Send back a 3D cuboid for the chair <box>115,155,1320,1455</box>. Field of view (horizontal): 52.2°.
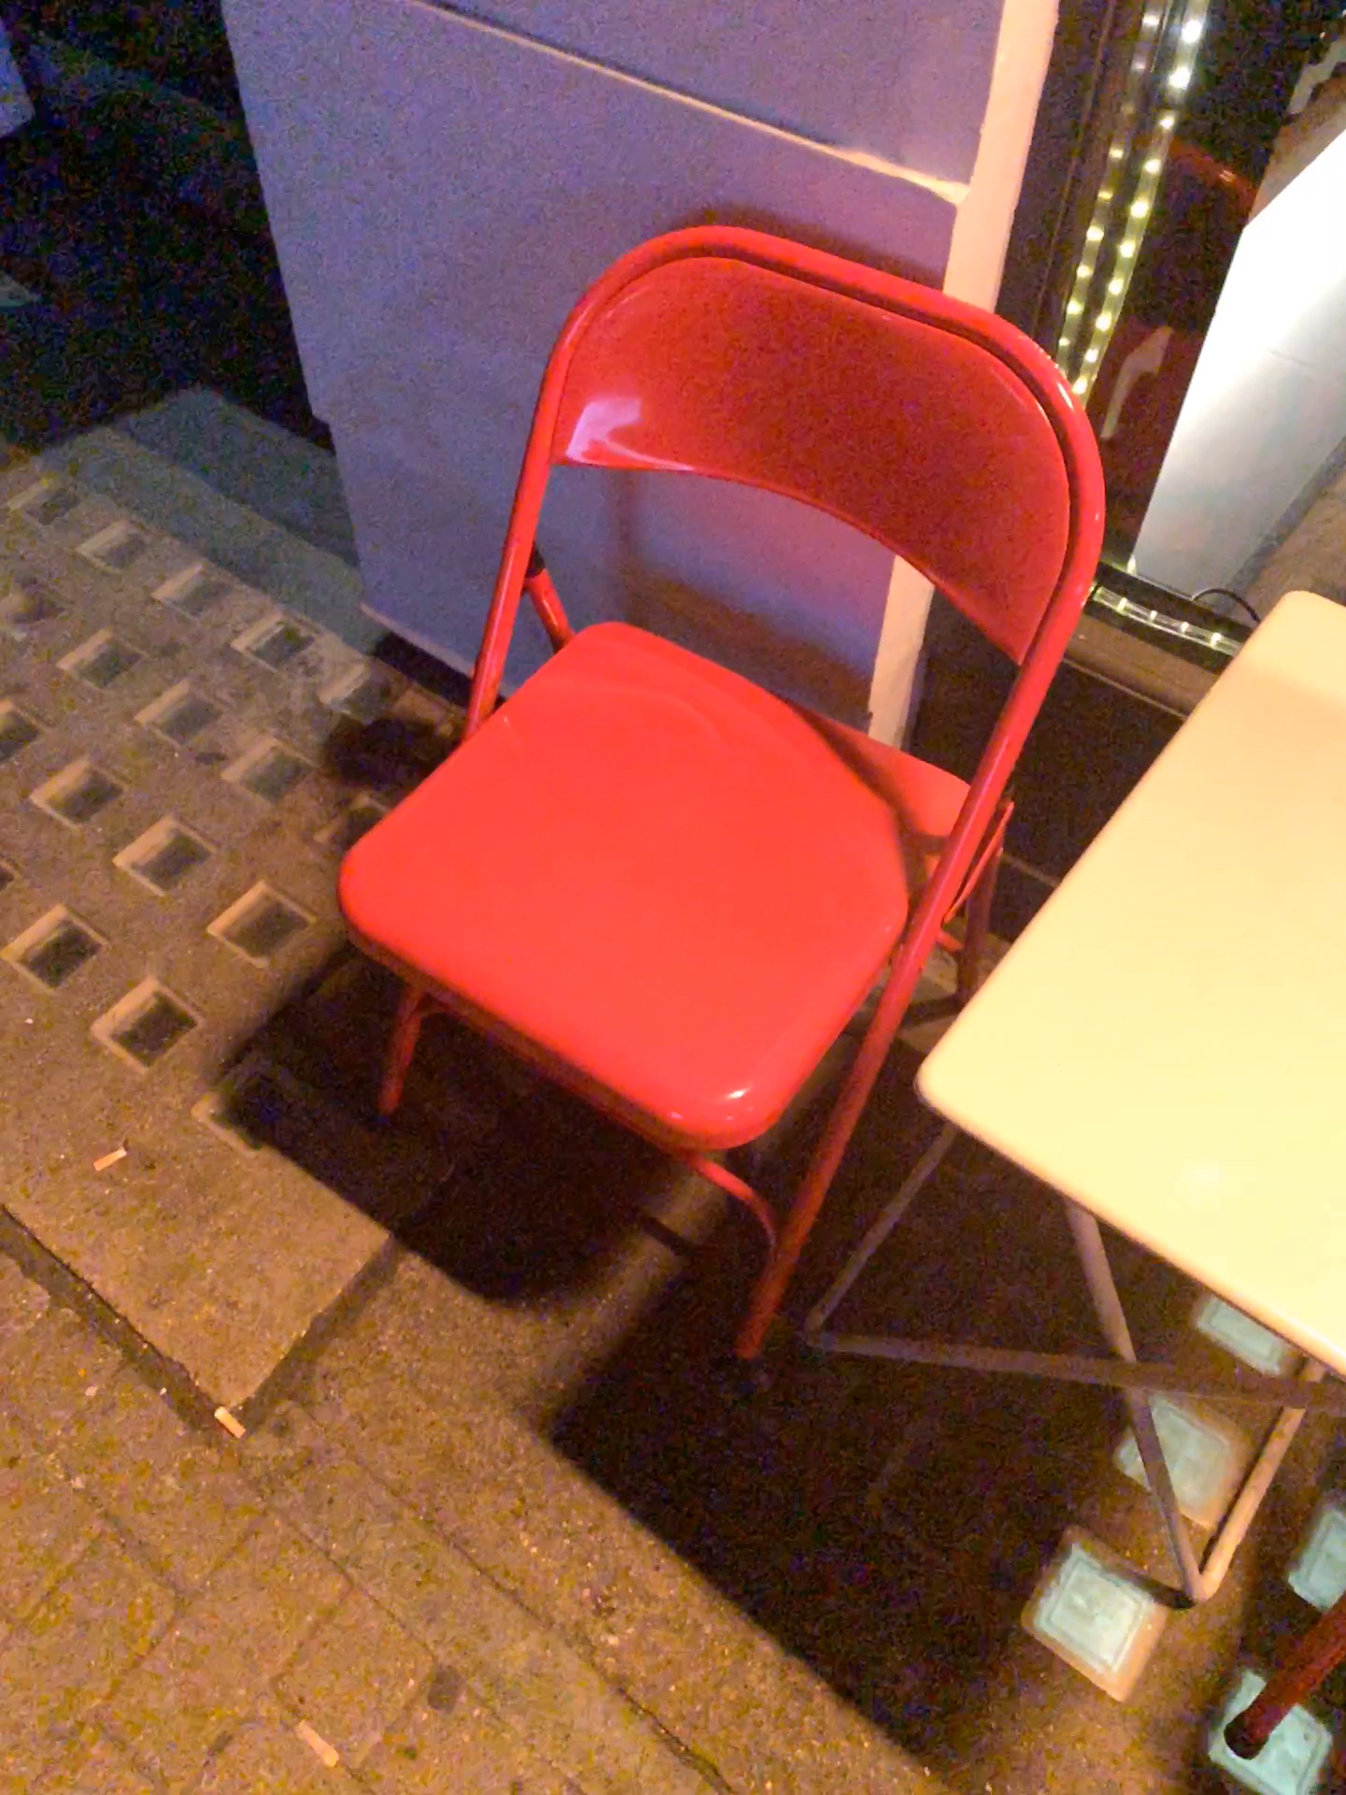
[{"bbox_3d":[0.044,-0.033,1.080,0.471,0.744,0.533,30,58,20],"label":"chair"}]
